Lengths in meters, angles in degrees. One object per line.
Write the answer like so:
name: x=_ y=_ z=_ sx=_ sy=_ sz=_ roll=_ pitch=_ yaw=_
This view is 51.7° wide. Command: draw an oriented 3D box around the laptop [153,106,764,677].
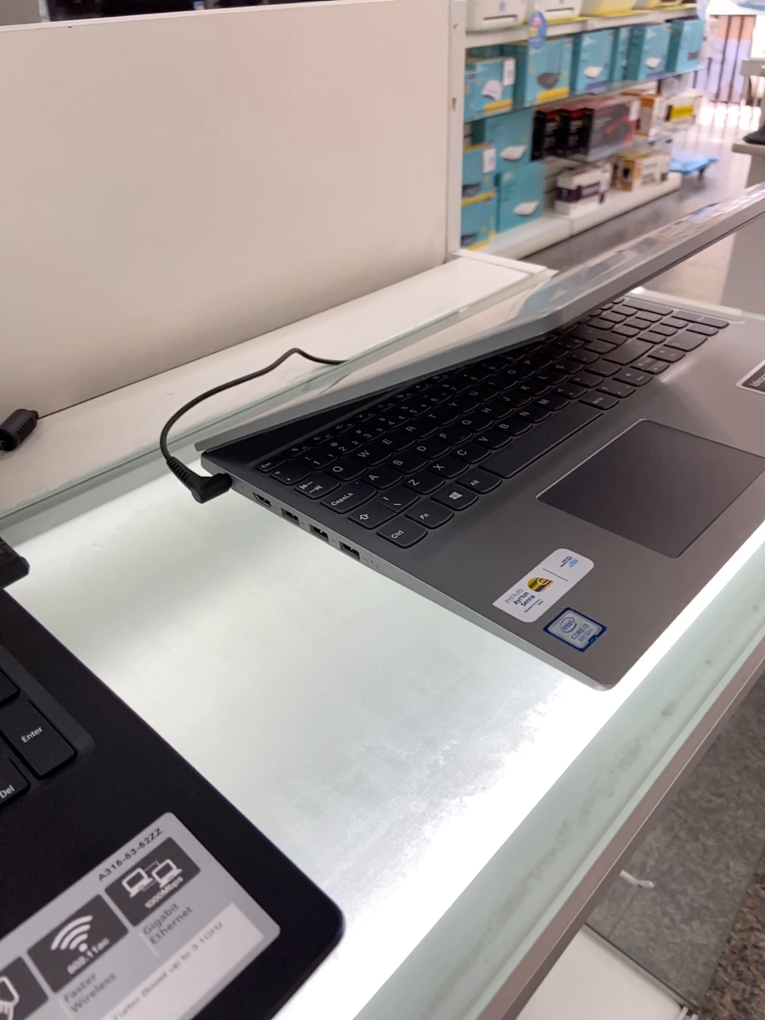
laptop: x=0.110 y=-0.113 z=0.416 sx=0.239 sy=0.122 sz=0.355 roll=26 pitch=44 yaw=36
